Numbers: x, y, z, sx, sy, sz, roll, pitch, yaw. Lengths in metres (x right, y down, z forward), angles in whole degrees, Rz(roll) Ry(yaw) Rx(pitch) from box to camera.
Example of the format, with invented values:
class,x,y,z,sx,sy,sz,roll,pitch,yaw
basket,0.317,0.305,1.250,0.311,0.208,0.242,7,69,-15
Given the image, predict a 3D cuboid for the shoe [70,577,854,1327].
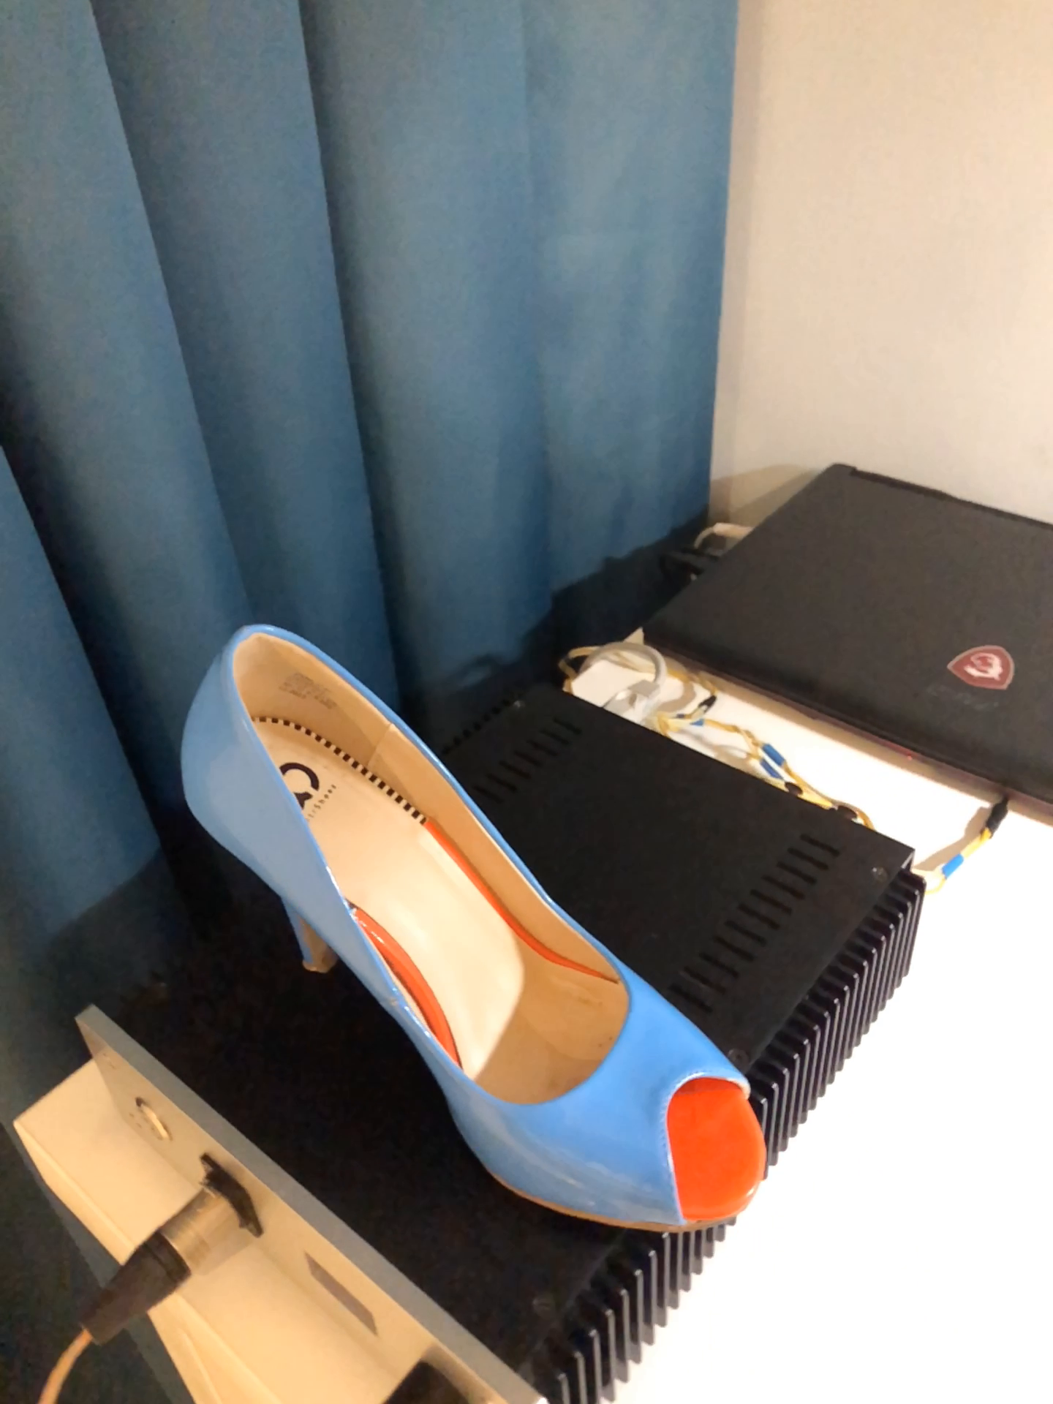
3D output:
class,x,y,z,sx,sy,sz,roll,pitch,yaw
shoe,-0.022,0.070,0.375,0.220,0.149,0.080,20,44,29
